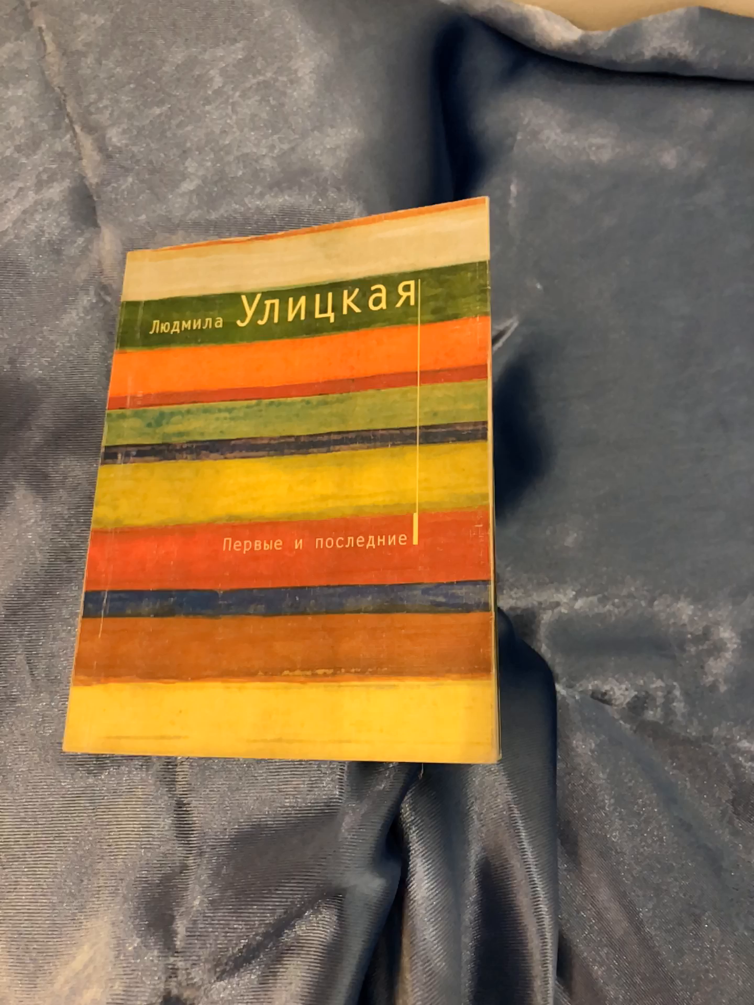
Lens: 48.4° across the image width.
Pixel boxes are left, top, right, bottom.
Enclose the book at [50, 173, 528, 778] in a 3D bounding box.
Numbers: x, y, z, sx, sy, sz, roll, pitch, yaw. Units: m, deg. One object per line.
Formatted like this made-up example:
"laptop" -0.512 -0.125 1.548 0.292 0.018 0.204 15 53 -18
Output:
"book" -0.023 -0.009 0.250 0.129 0.026 0.167 -3 73 16
